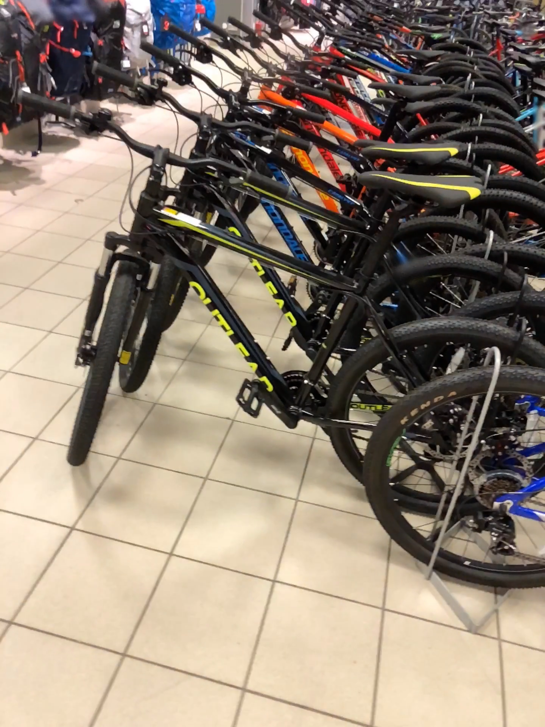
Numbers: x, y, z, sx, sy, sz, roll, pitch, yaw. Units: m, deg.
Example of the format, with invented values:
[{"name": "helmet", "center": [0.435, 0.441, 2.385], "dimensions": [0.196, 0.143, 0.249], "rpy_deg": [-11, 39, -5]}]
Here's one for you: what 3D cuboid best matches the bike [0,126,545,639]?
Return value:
[{"name": "bike", "center": [0.143, 0.061, 1.449], "dimensions": [1.352, 1.044, 0.665], "rpy_deg": [4, 33, 1]}]
